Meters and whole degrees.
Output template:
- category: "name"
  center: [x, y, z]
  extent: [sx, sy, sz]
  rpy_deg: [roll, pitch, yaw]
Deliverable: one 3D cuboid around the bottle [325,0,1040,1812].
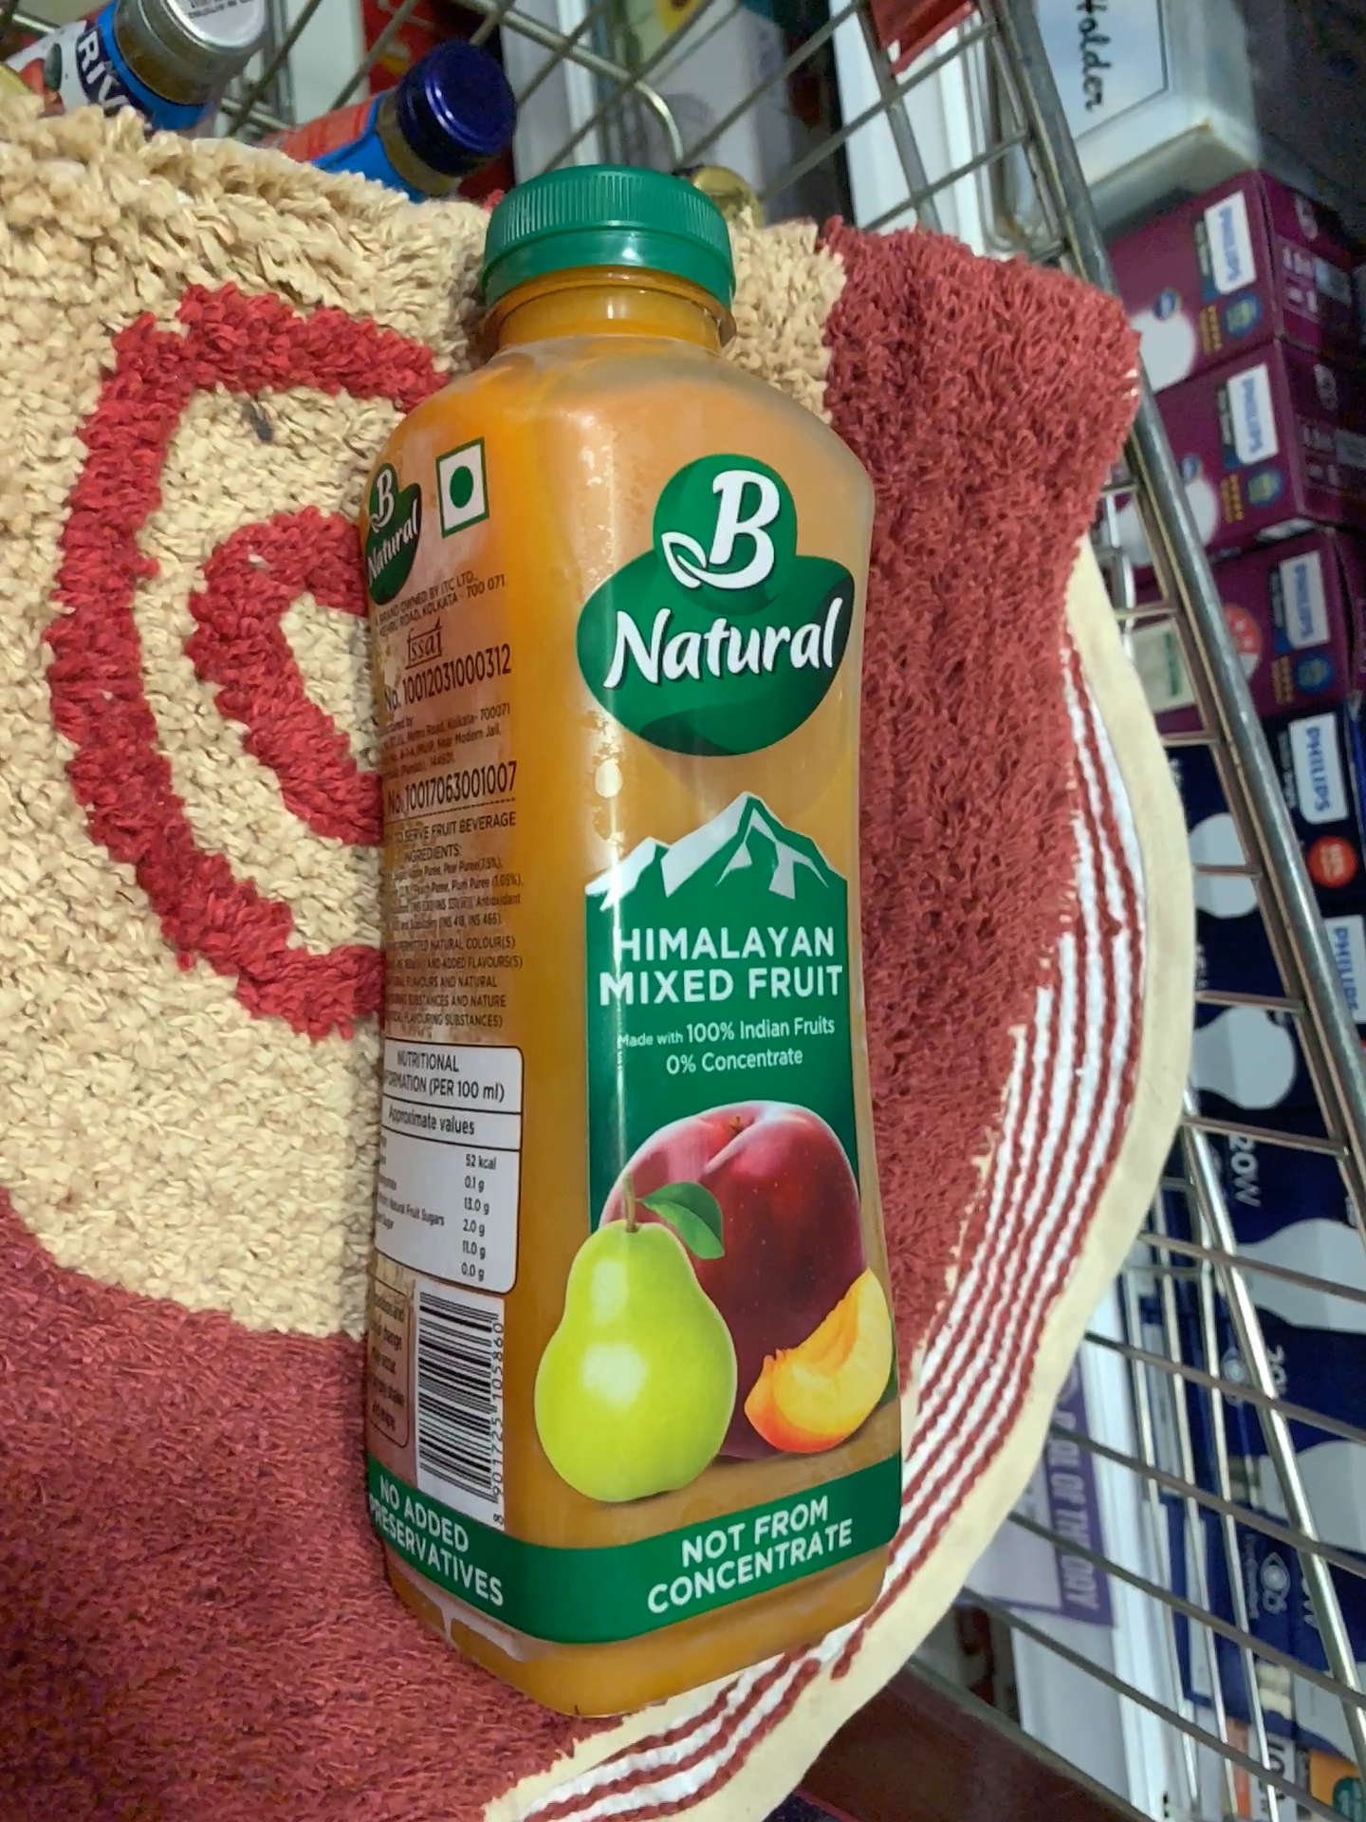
- category: "bottle"
  center: [-0.004, -0.009, 0.219]
  extent: [0.070, 0.070, 0.230]
  rpy_deg: [1, 83, -38]
